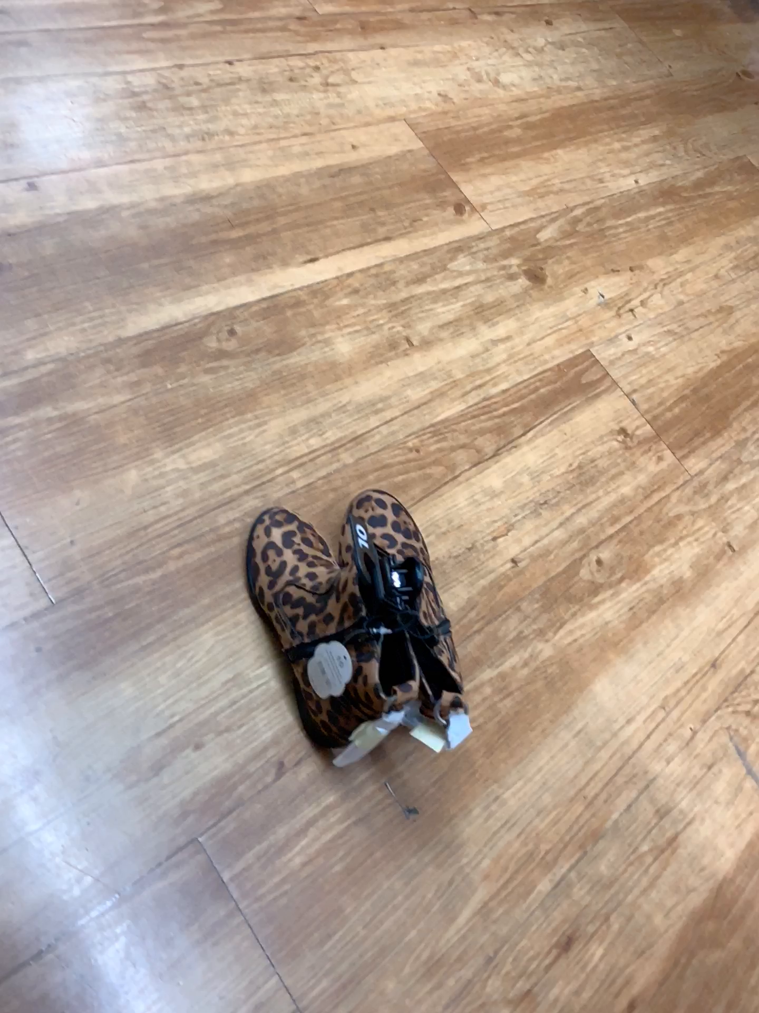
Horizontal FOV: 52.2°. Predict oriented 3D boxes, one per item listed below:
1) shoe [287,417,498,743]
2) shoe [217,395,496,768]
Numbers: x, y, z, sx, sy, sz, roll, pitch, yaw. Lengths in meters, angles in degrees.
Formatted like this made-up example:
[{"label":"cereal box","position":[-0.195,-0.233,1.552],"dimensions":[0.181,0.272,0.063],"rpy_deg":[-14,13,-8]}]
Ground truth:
[{"label":"shoe","position":[0.010,0.054,0.516],"dimensions":[0.070,0.120,0.180],"rpy_deg":[-20,70,-1]},{"label":"shoe","position":[-0.025,0.047,0.485],"dimensions":[0.070,0.120,0.190],"rpy_deg":[-14,69,-30]}]
